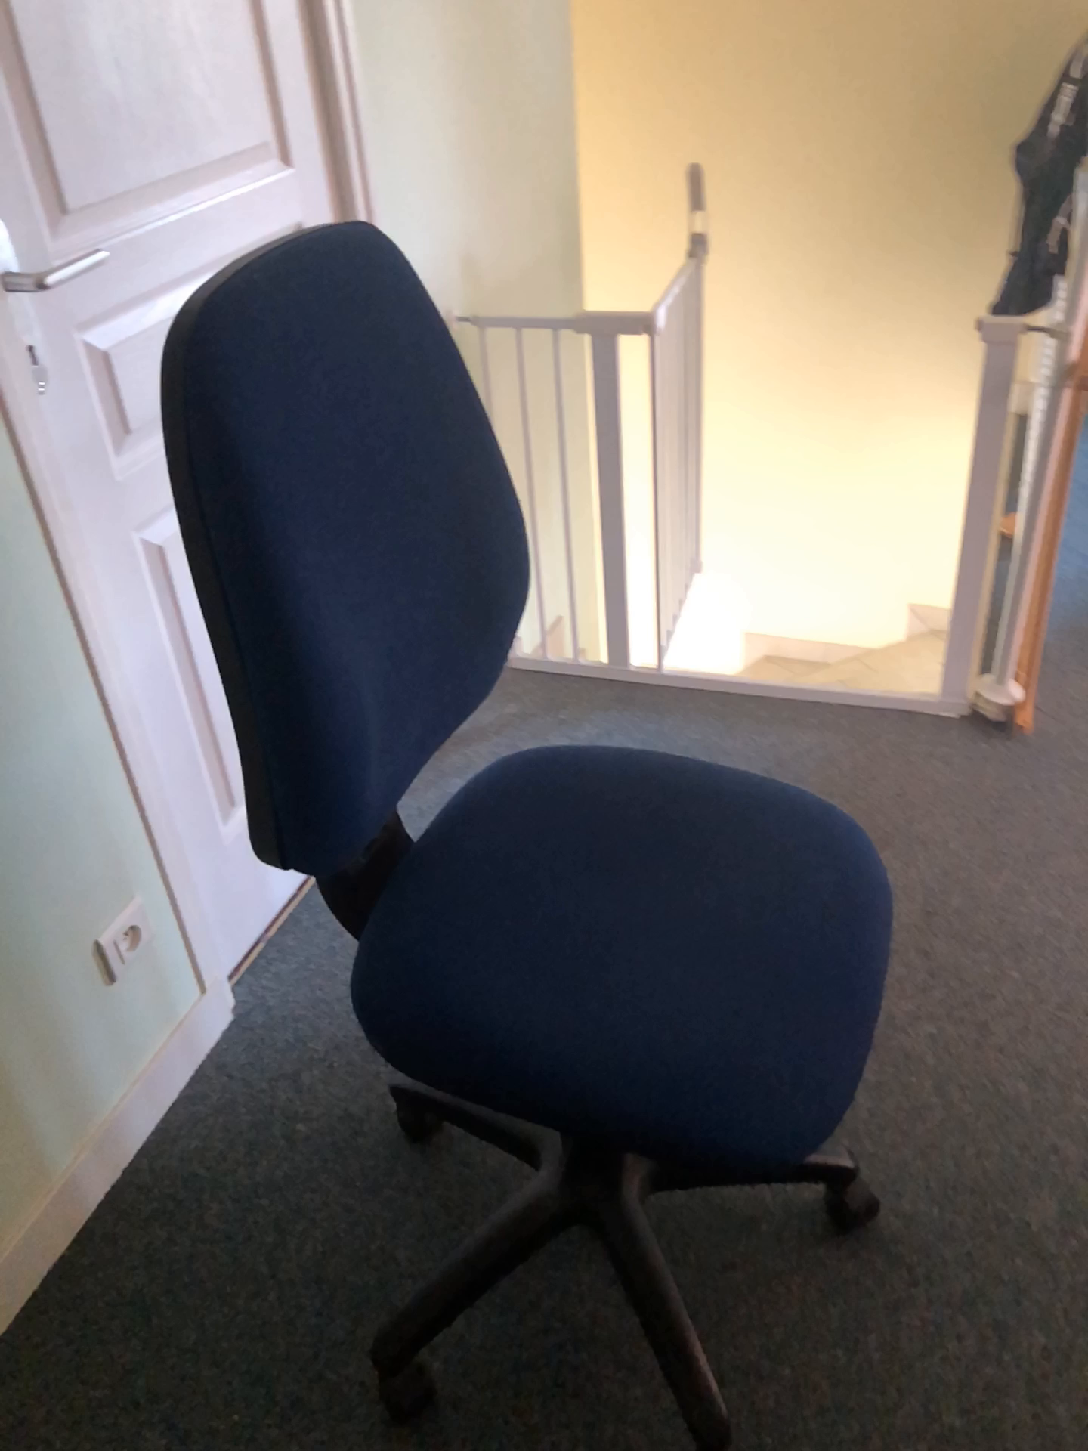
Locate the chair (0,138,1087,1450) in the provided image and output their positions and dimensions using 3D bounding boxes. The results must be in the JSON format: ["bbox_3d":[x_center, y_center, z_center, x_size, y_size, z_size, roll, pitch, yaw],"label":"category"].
[{"bbox_3d":[0.056,0.112,1.148,0.670,1.113,0.705,7,36,16],"label":"chair"}]
